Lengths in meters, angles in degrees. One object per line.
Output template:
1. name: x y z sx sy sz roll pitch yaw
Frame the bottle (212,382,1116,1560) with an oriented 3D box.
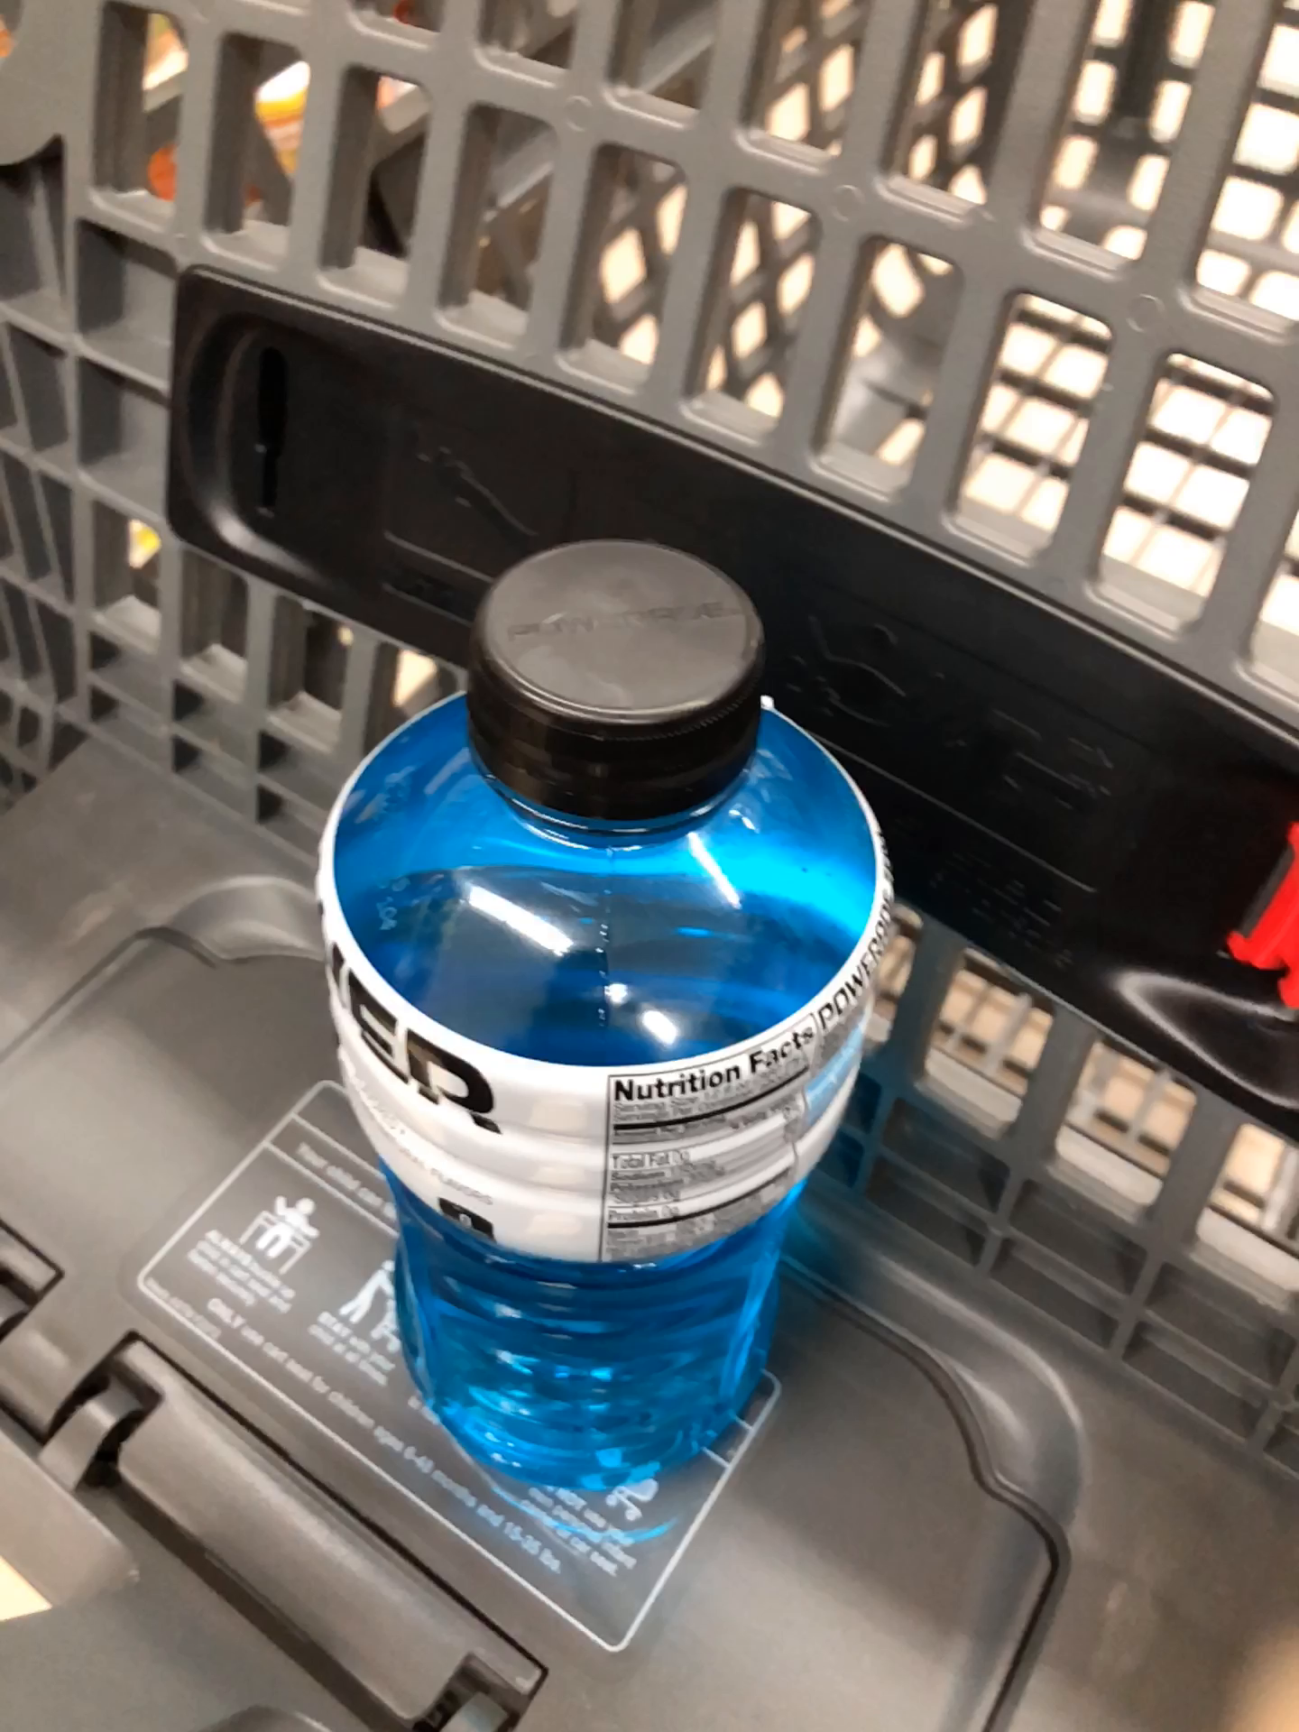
1. bottle: -0.007 0.038 0.273 0.100 0.220 0.100 3 46 -3
